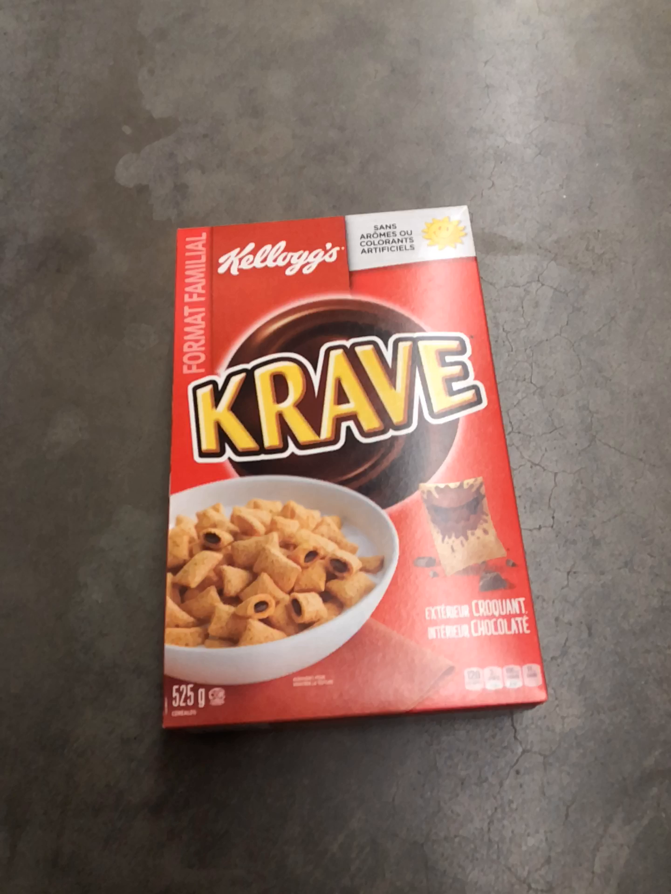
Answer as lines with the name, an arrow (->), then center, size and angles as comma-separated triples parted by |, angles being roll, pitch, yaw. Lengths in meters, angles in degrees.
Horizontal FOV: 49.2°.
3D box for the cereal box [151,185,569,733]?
cereal box -> 0.003, -0.002, 0.440 | 0.200, 0.070, 0.311 | -4, 68, 1
